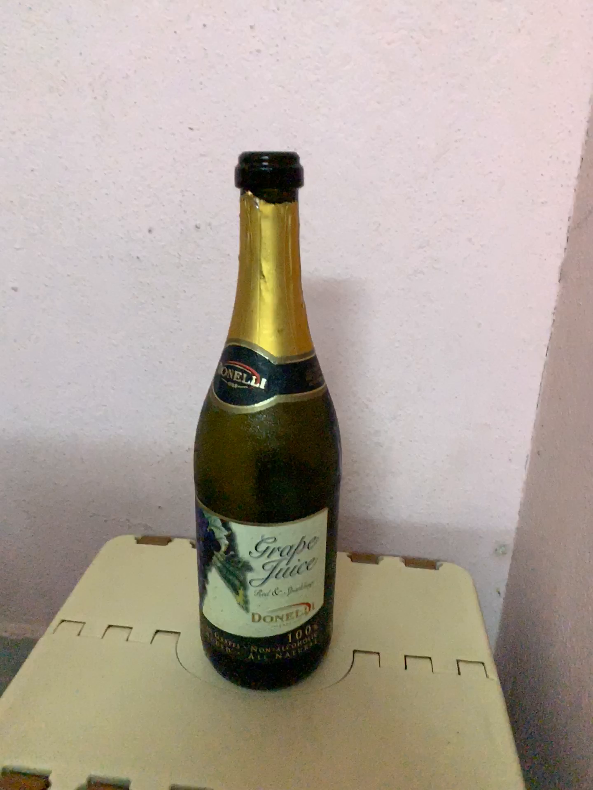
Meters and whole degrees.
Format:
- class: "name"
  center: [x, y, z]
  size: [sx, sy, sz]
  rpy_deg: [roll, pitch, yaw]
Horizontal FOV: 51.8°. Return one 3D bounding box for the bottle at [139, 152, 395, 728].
- class: "bottle"
  center: [-0.017, 0.024, 0.321]
  size: [0.090, 0.279, 0.070]
  rpy_deg: [17, 26, 35]
